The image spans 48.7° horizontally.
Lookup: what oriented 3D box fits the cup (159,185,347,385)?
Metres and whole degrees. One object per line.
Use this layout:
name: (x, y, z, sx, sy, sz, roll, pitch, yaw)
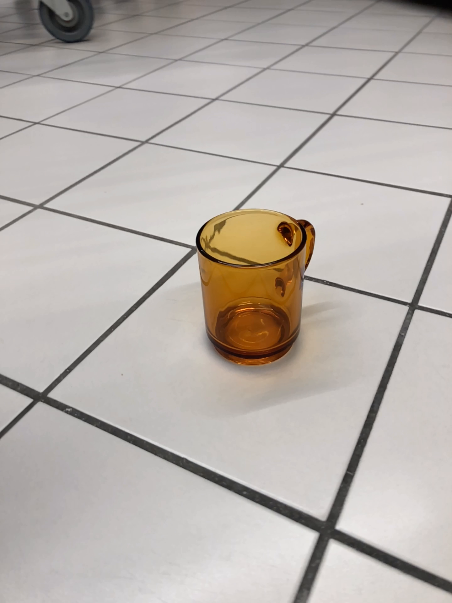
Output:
cup: (0.020, -0.016, 0.346, 0.096, 0.082, 0.074, -31, 46, -31)
